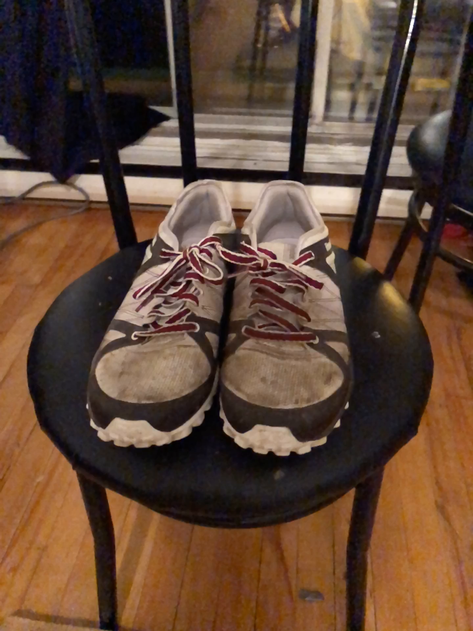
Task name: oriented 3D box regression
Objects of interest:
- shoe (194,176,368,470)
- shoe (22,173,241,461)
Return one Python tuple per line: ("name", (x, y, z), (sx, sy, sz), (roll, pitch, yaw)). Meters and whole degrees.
("shoe", (0.044, -0.017, 0.464), (0.110, 0.089, 0.282), (4, 41, 5))
("shoe", (-0.066, -0.021, 0.458), (0.110, 0.089, 0.272), (4, 41, 5))
